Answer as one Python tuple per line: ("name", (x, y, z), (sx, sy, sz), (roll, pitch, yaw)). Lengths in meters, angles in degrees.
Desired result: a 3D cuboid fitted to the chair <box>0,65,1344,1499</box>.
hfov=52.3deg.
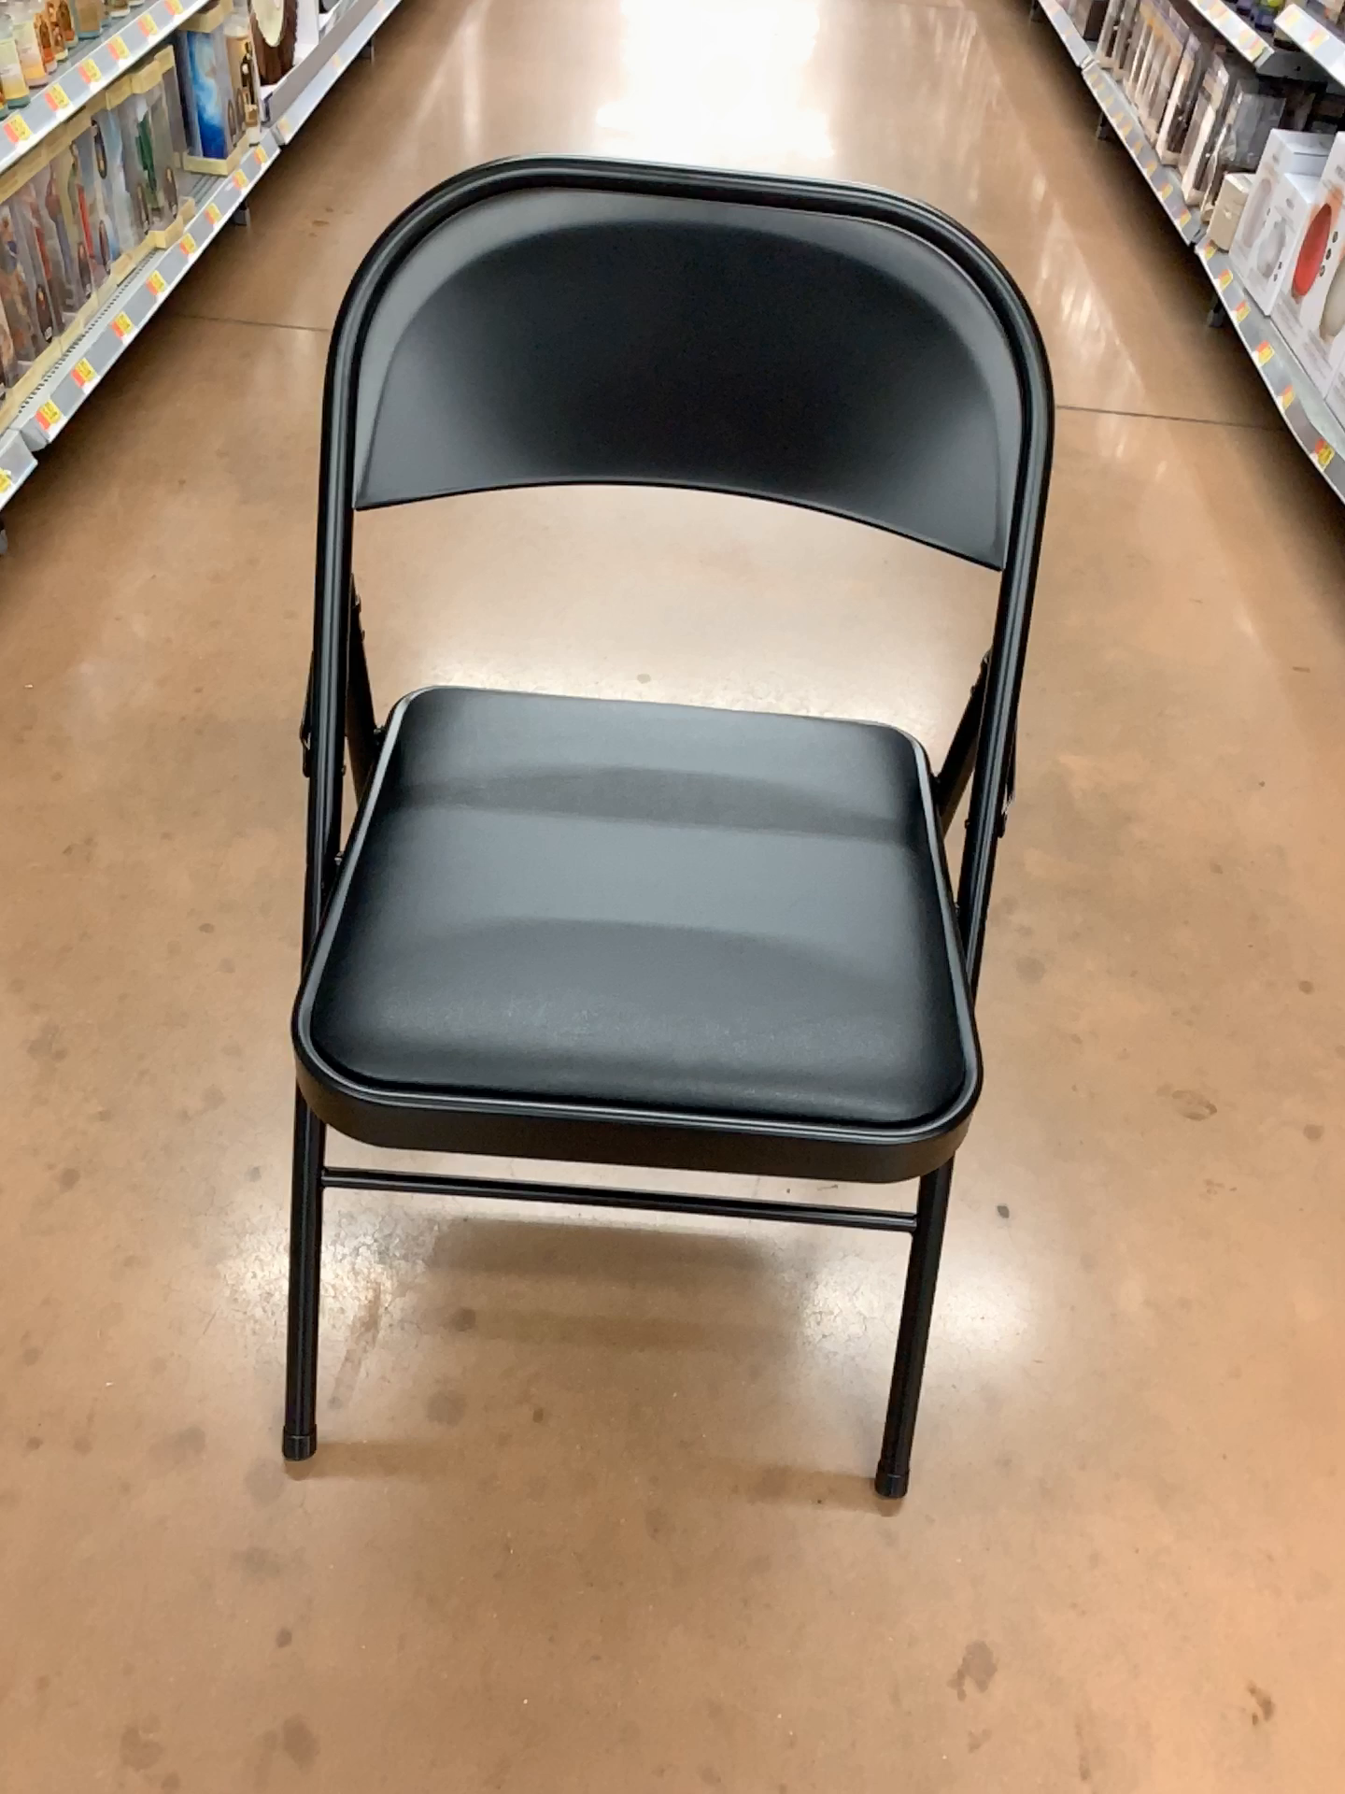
("chair", (-0.017, -0.027, 0.838), (0.470, 0.697, 0.472), (5, 44, -2))
